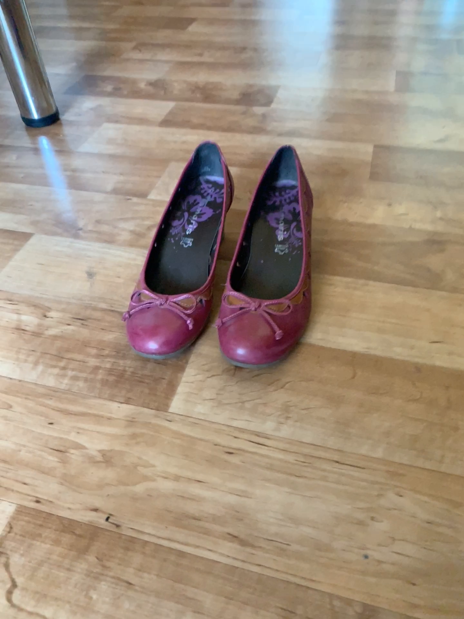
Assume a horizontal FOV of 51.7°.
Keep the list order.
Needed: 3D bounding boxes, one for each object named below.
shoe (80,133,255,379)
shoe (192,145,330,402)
[{"bbox_3d":[-0.044,-0.066,0.477,0.090,0.110,0.241,7,46,11],"label":"shoe"},{"bbox_3d":[0.039,-0.048,0.460,0.090,0.110,0.241,5,46,9],"label":"shoe"}]
